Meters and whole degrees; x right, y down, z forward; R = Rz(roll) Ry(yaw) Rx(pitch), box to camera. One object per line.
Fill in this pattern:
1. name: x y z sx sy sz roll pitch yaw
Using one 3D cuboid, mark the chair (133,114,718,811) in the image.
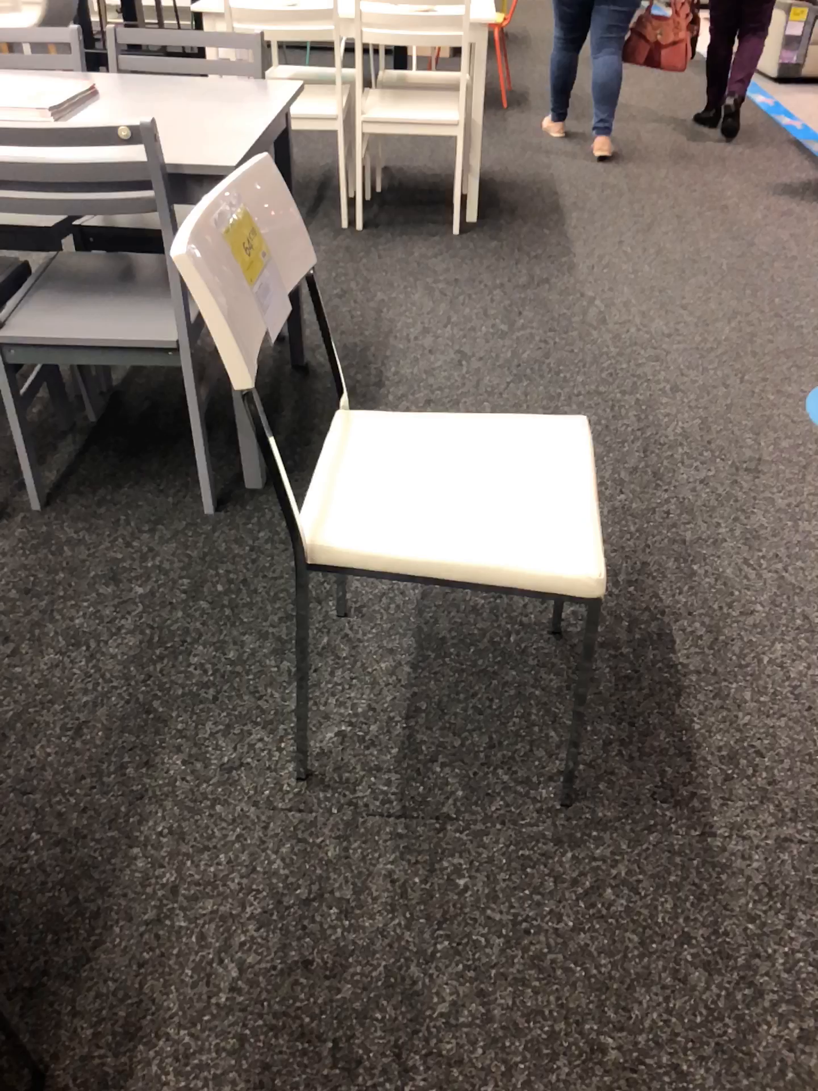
1. chair: 0.017 -0.104 1.268 0.540 0.815 0.503 3 37 1
